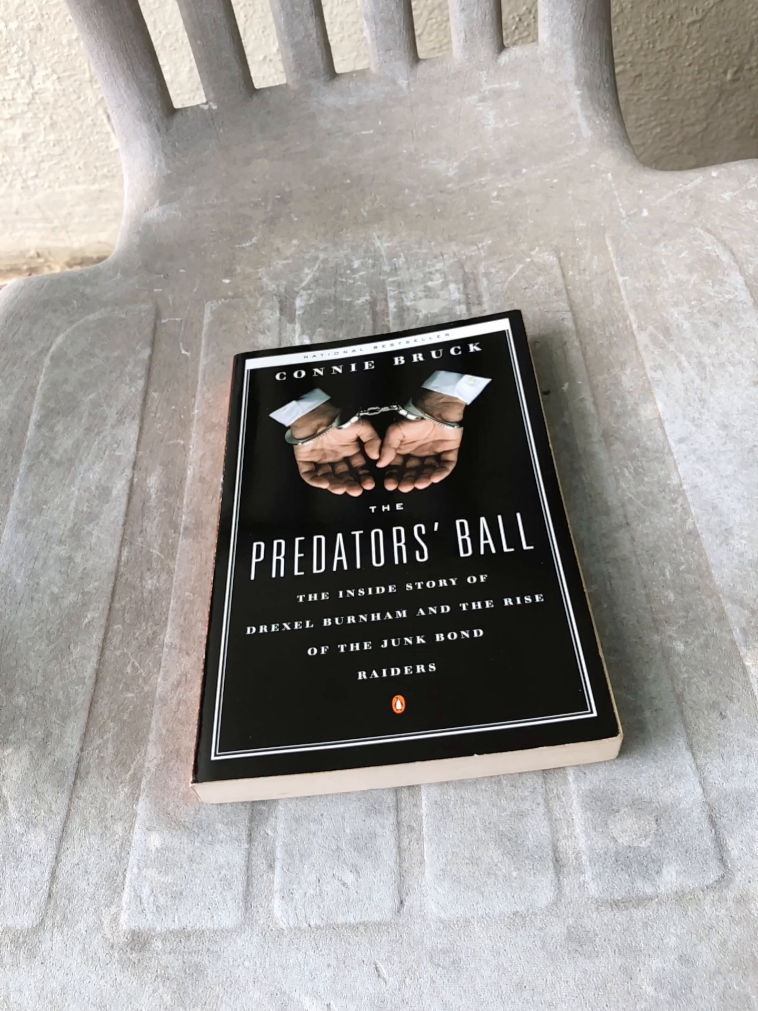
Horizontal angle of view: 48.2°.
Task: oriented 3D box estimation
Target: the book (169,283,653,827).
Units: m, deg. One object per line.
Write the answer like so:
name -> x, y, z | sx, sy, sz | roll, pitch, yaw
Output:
book -> 0.005, 0.003, 0.321 | 0.140, 0.030, 0.210 | -8, 51, 5
